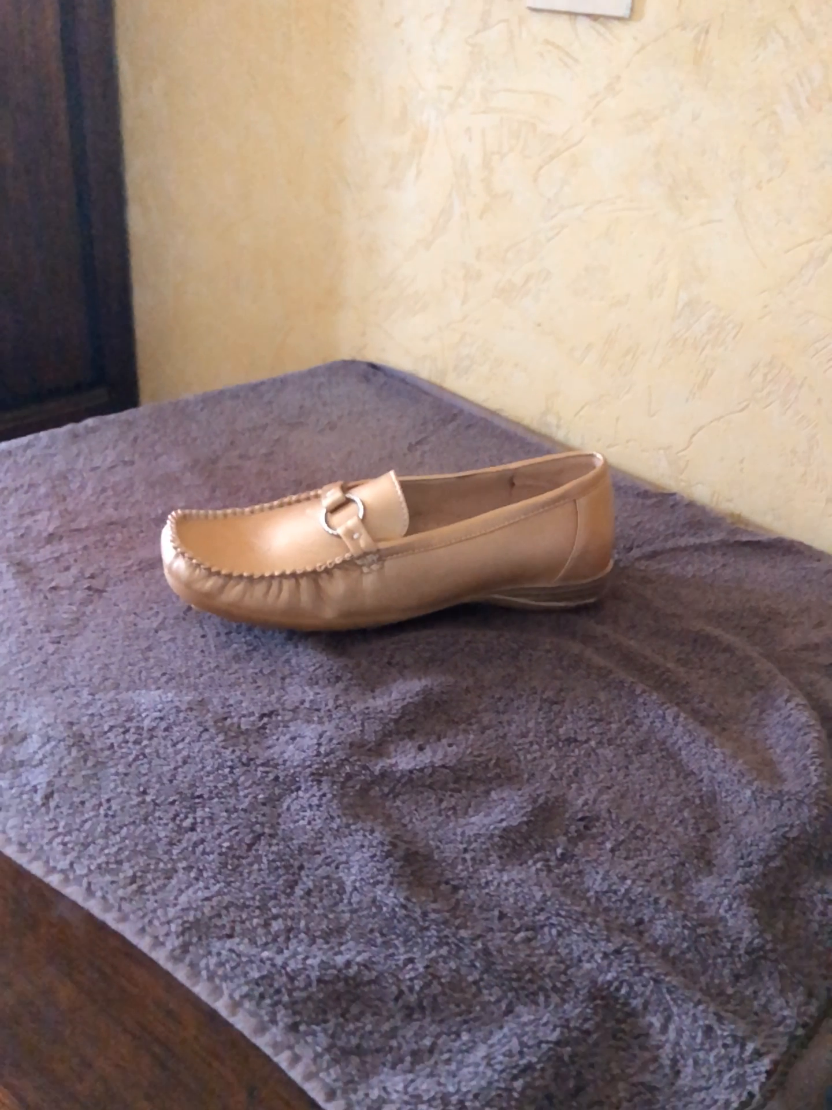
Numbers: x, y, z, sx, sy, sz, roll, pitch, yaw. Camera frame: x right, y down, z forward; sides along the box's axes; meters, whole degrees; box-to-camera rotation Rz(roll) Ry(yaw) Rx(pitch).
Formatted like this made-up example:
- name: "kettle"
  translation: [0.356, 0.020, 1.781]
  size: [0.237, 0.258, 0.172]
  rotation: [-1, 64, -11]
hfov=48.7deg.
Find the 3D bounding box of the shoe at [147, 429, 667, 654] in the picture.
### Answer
- name: "shoe"
  translation: [-0.007, -0.013, 0.499]
  size: [0.261, 0.080, 0.080]
  rotation: [-3, 31, -16]
